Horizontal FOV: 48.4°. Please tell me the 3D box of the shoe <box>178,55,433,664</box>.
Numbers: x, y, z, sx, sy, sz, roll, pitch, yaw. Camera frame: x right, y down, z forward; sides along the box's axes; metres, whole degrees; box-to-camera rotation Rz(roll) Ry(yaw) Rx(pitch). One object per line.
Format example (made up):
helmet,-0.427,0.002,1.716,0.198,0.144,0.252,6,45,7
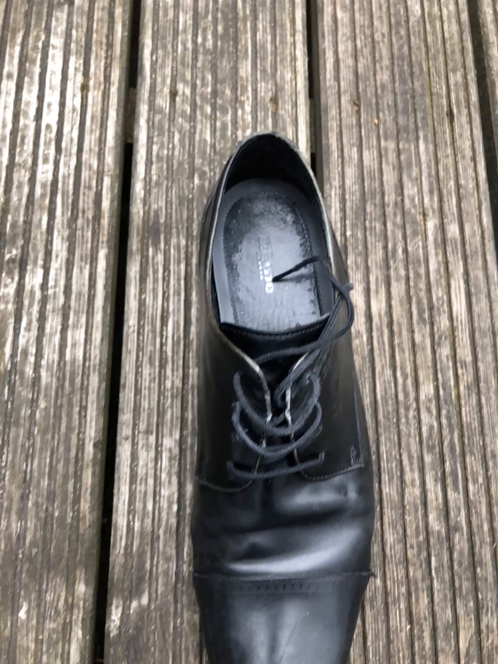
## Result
shoe,0.009,0.048,0.306,0.090,0.150,0.340,0,76,-5
